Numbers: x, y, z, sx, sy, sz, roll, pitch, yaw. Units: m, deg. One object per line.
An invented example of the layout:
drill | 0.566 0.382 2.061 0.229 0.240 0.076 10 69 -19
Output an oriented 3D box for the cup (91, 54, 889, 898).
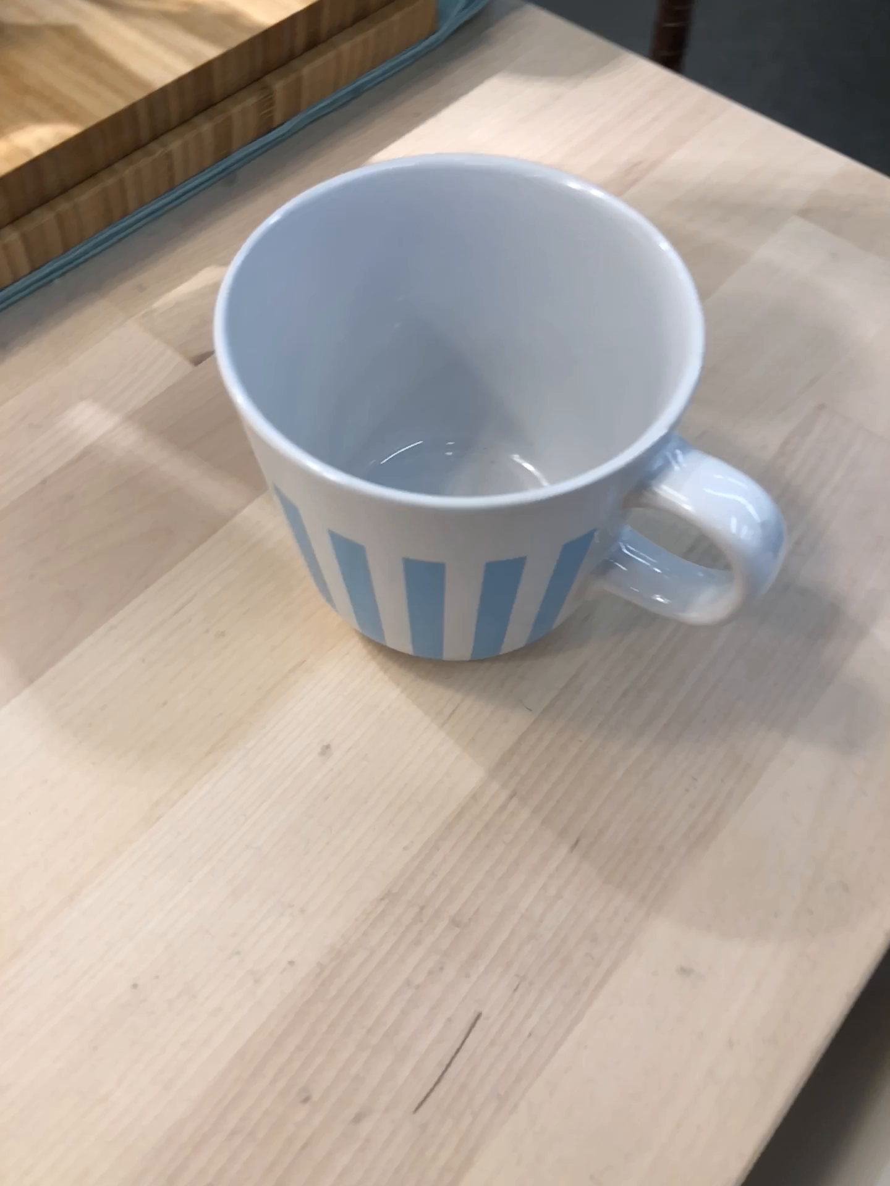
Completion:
cup | 0.015 -0.023 0.188 0.120 0.080 0.080 37 66 19
